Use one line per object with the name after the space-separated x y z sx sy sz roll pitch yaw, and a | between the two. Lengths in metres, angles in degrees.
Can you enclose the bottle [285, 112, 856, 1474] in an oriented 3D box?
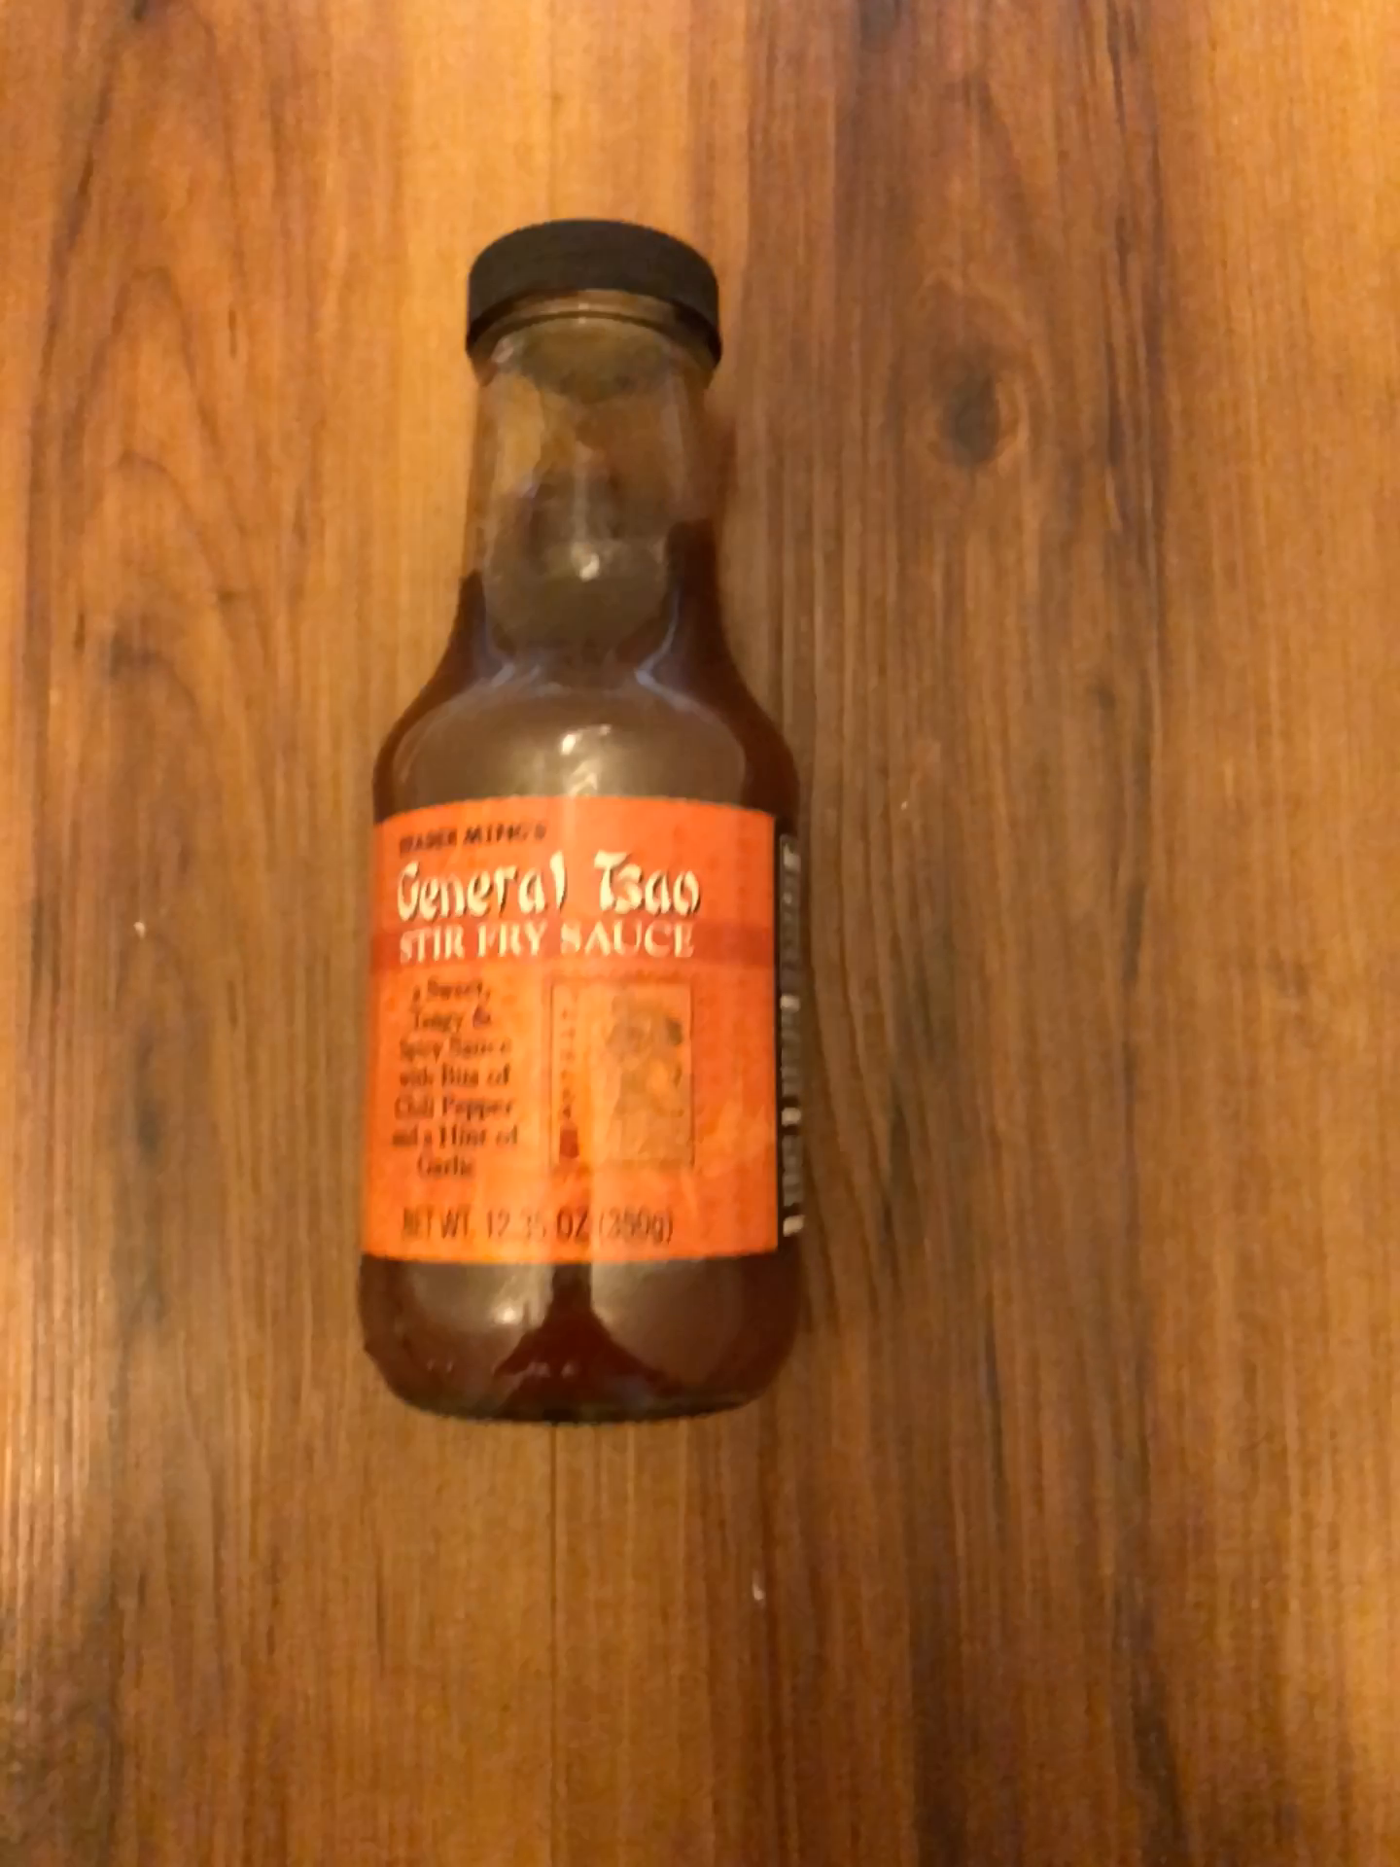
-0.015 -0.018 0.237 0.068 0.060 0.180 -2 81 9 | bottle
